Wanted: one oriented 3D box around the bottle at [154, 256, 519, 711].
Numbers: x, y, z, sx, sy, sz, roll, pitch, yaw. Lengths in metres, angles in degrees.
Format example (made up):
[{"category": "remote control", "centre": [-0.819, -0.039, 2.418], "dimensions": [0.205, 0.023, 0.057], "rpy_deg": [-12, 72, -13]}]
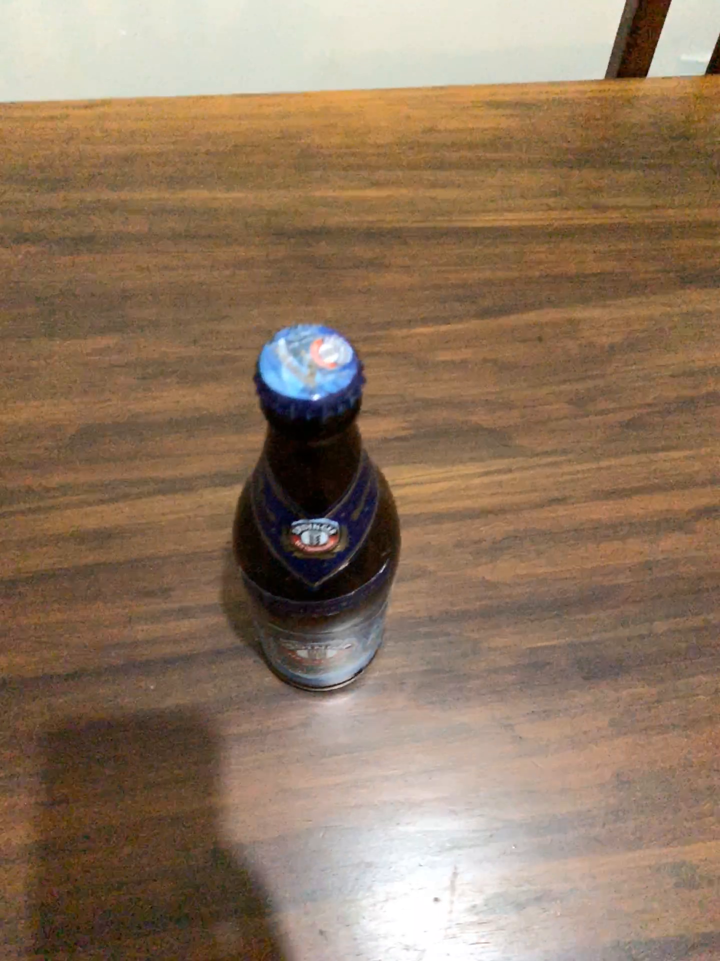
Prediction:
[{"category": "bottle", "centre": [-0.013, 0.030, 0.289], "dimensions": [0.080, 0.249, 0.070], "rpy_deg": [-4, 64, -5]}]
